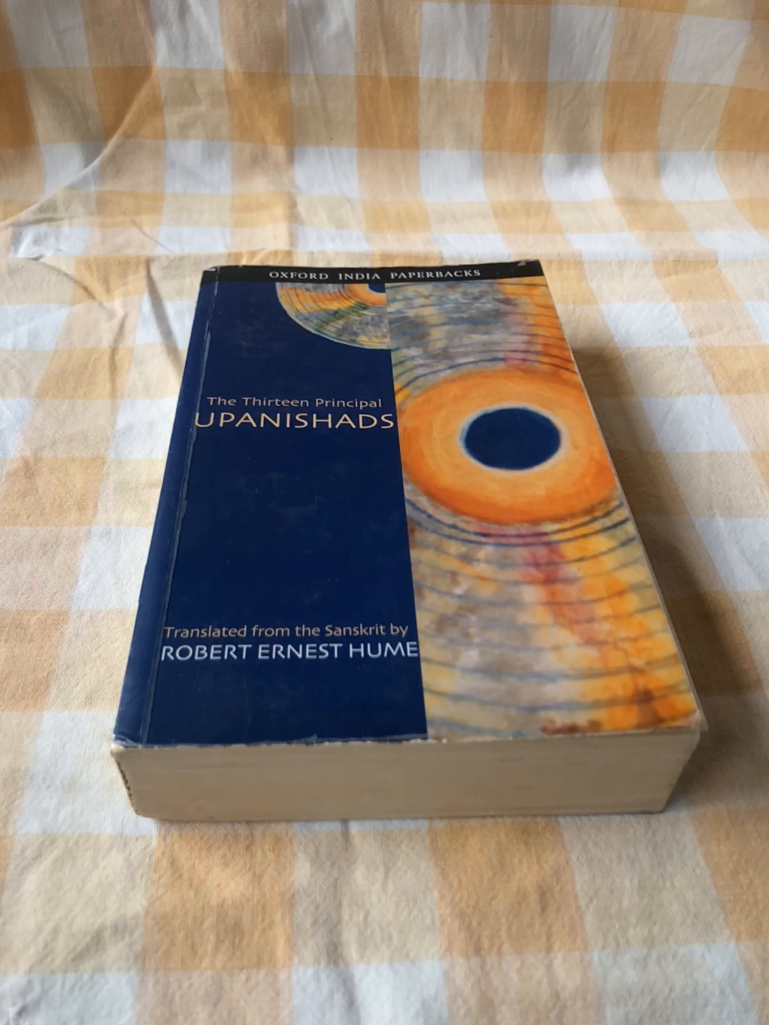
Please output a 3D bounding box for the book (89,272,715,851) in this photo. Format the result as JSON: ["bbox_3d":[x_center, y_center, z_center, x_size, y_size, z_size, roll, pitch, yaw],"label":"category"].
[{"bbox_3d":[-0.001,-0.005,0.278,0.140,0.040,0.211,-1,46,-4],"label":"book"}]
